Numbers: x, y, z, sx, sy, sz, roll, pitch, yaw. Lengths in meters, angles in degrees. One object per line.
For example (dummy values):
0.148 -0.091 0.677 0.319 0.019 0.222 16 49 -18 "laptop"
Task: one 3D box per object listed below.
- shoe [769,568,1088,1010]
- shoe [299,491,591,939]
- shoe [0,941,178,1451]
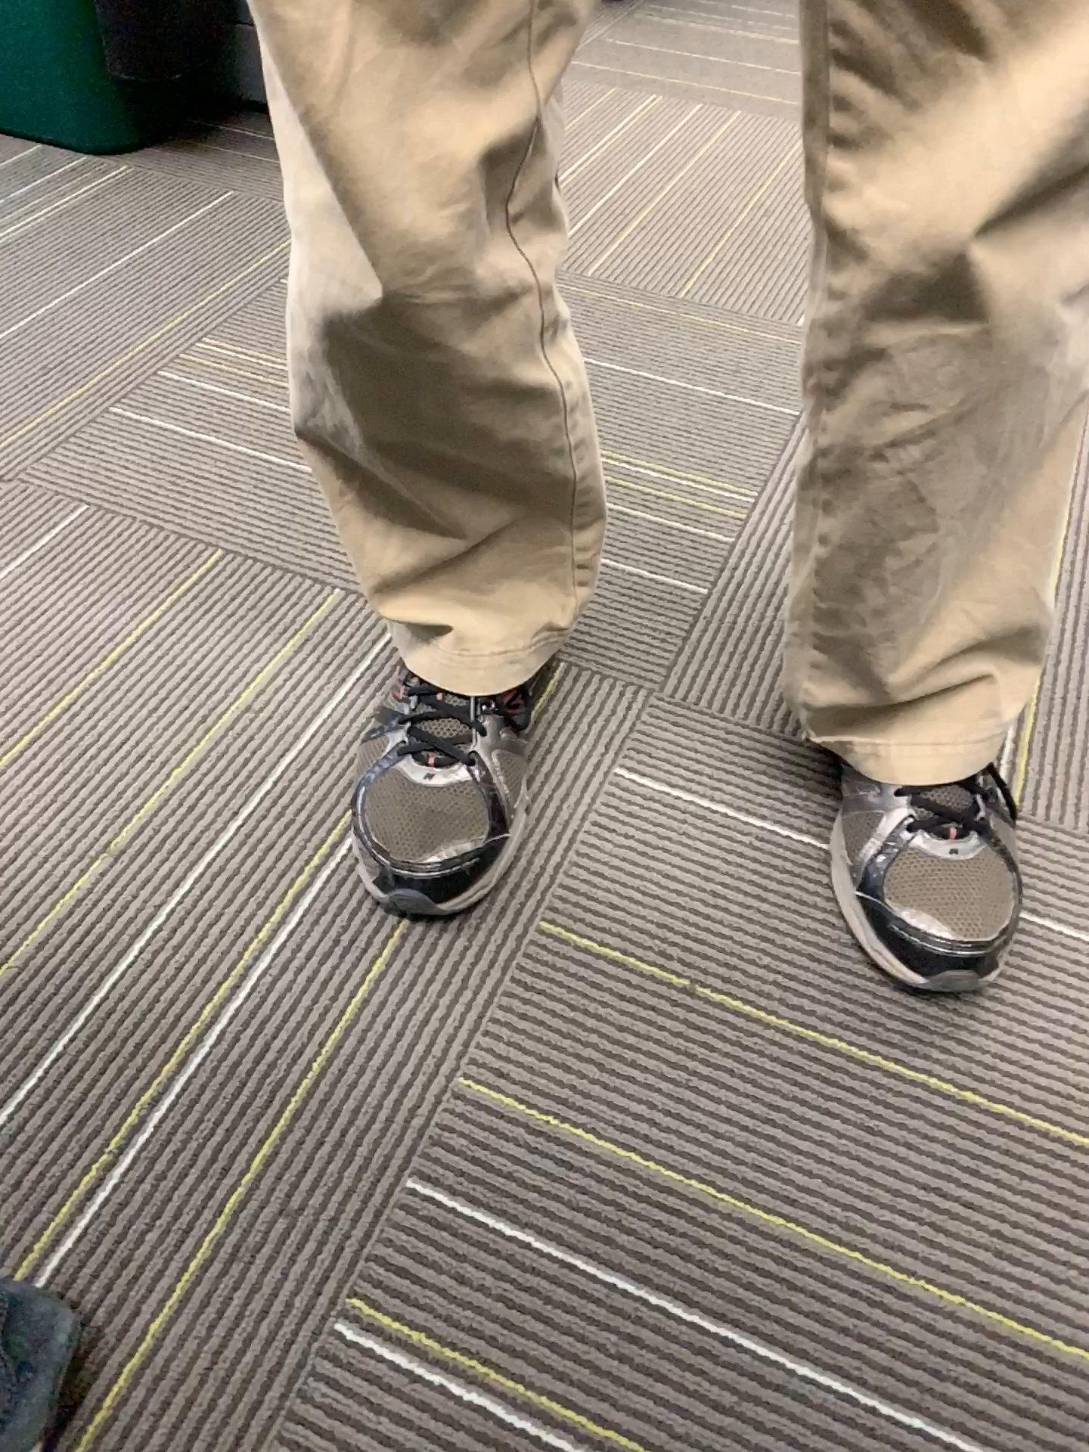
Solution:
0.249 0.028 0.758 0.130 0.087 0.317 1 47 -2 "shoe"
-0.053 -0.025 0.769 0.134 0.087 0.329 7 47 3 "shoe"
-0.324 0.252 0.493 0.138 0.085 0.280 27 51 21 "shoe"
